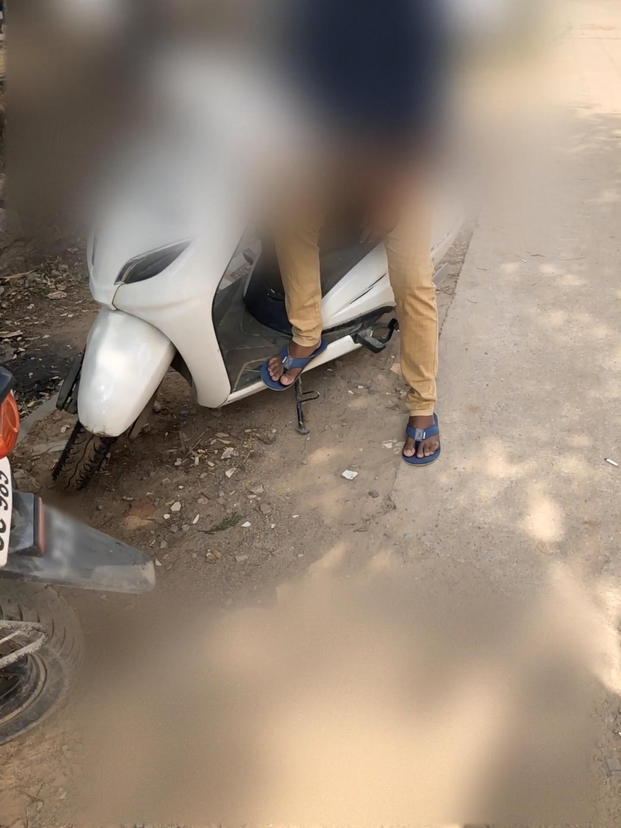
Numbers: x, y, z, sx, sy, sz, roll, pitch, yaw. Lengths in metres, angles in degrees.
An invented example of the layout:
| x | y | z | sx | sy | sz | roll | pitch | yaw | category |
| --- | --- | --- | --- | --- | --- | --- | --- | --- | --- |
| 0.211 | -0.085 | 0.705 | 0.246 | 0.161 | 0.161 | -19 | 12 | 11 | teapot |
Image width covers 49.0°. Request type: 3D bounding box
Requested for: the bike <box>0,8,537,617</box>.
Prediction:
| x | y | z | sx | sy | sz | roll | pitch | yaw | category |
| --- | --- | --- | --- | --- | --- | --- | --- | --- | --- |
| -0.037 | -0.461 | 1.968 | 0.621 | 1.200 | 1.597 | 21 | 39 | 32 | bike |
